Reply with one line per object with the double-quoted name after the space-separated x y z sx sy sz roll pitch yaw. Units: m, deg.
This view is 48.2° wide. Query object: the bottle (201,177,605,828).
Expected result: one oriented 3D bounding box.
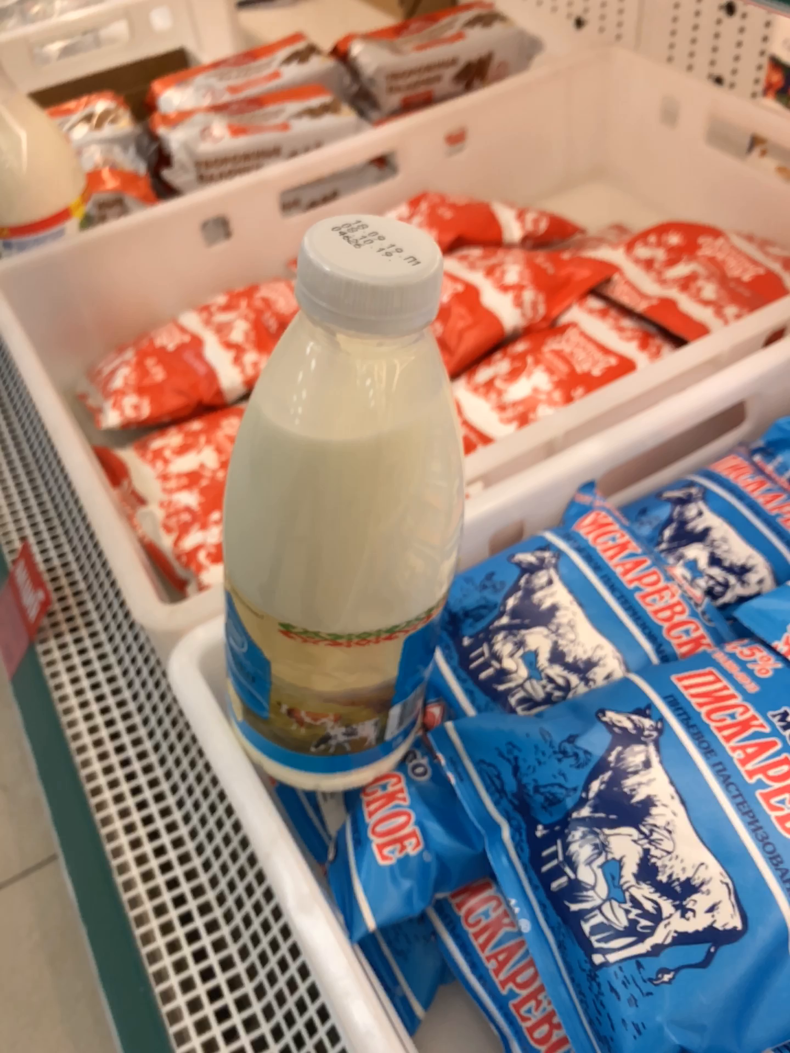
-0.015 0.002 0.335 0.090 0.229 0.090 5 41 -5 "bottle"
